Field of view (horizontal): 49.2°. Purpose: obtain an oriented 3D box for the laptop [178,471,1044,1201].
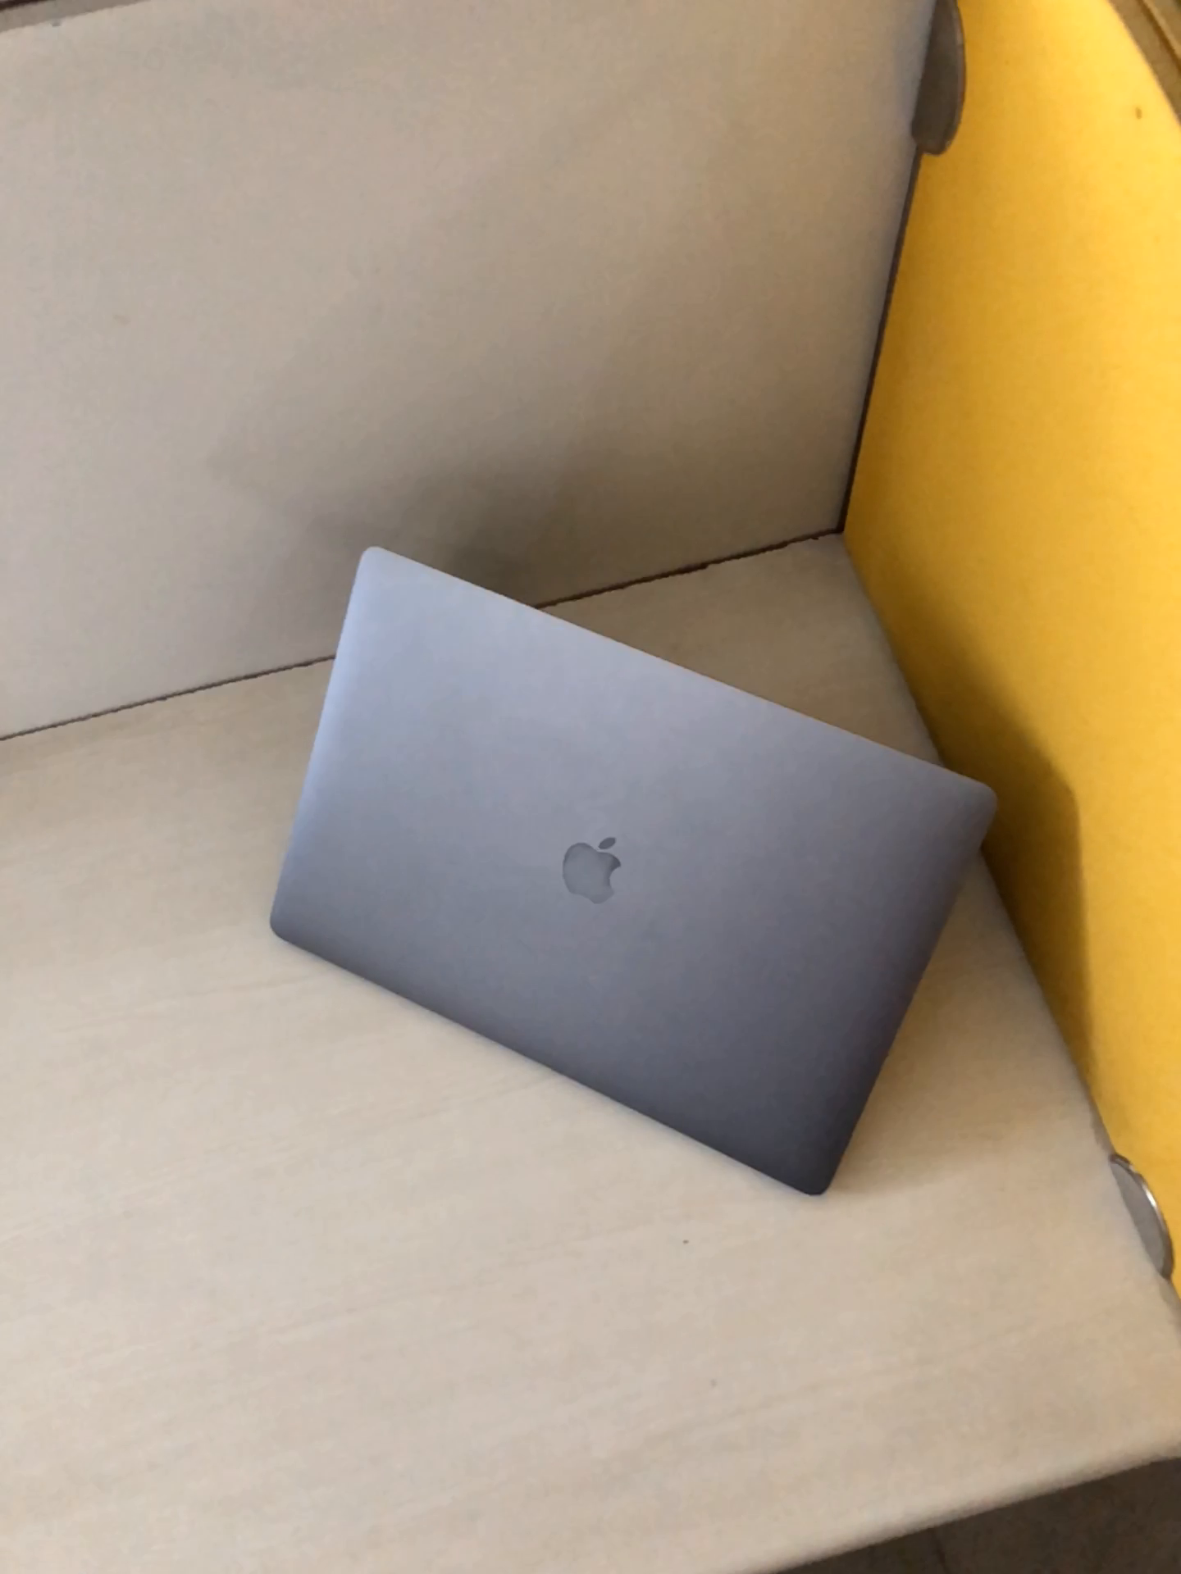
[{"bbox_3d":[0.015,0.024,0.688,0.345,0.152,0.236,23,69,12],"label":"laptop"}]
